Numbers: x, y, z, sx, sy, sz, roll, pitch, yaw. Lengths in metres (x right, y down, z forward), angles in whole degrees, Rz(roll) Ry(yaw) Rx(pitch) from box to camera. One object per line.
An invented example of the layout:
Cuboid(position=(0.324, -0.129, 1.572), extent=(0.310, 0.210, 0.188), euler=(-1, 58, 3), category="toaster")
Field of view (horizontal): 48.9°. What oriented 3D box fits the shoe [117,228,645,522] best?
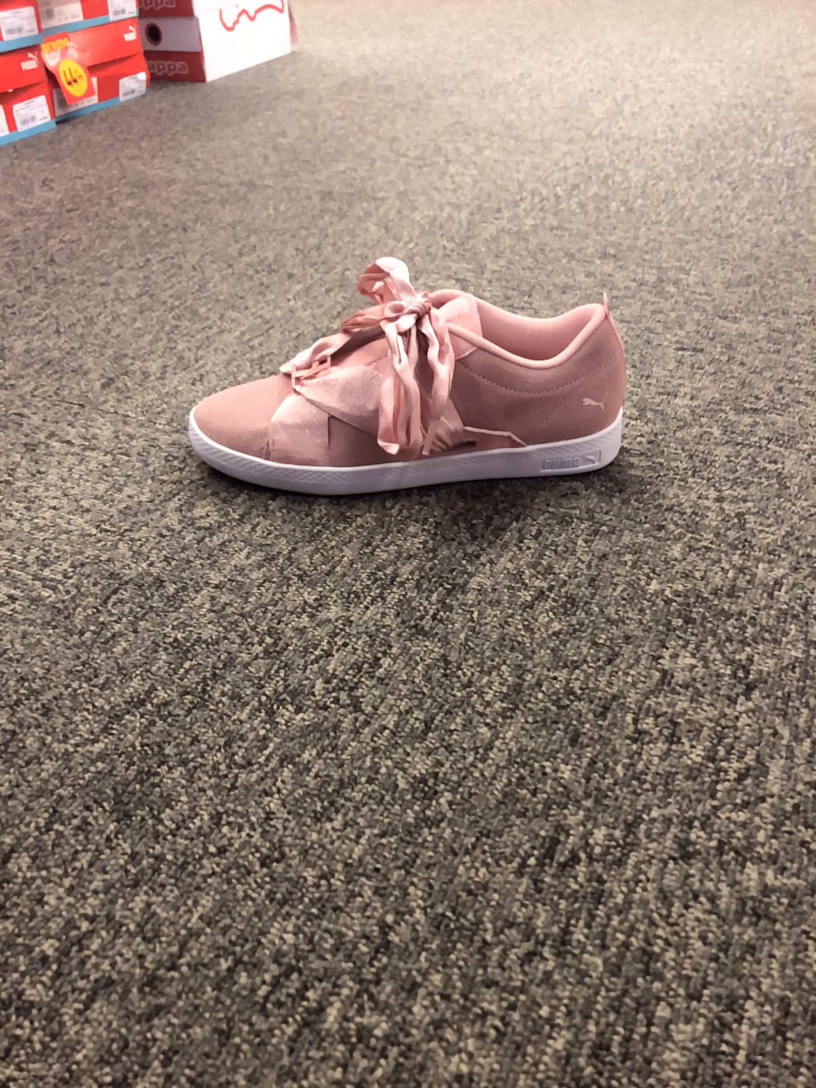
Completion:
Cuboid(position=(-0.008, -0.094, 0.507), extent=(0.262, 0.099, 0.101), euler=(-5, 36, 10), category="shoe")
